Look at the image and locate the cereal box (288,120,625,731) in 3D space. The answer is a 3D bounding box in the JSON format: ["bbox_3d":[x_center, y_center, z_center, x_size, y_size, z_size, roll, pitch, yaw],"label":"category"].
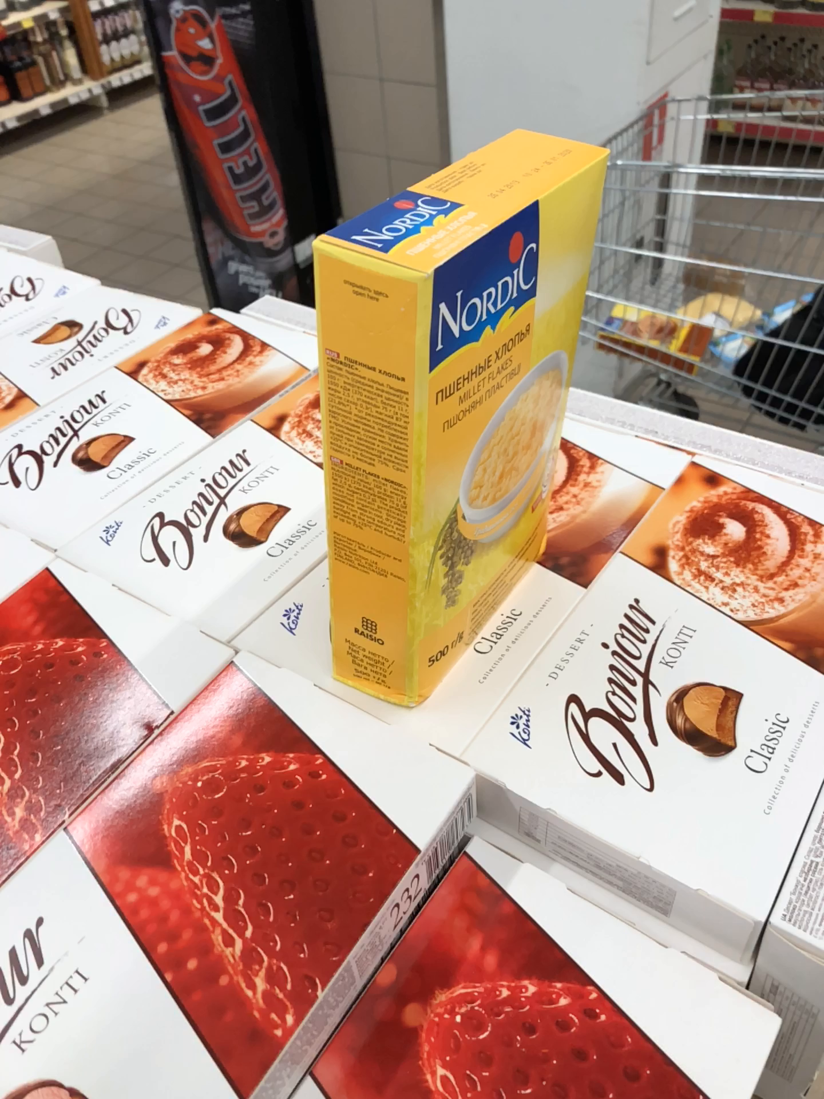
[{"bbox_3d":[0.019,-0.052,0.406,0.050,0.218,0.161,24,46,22],"label":"cereal box"}]
